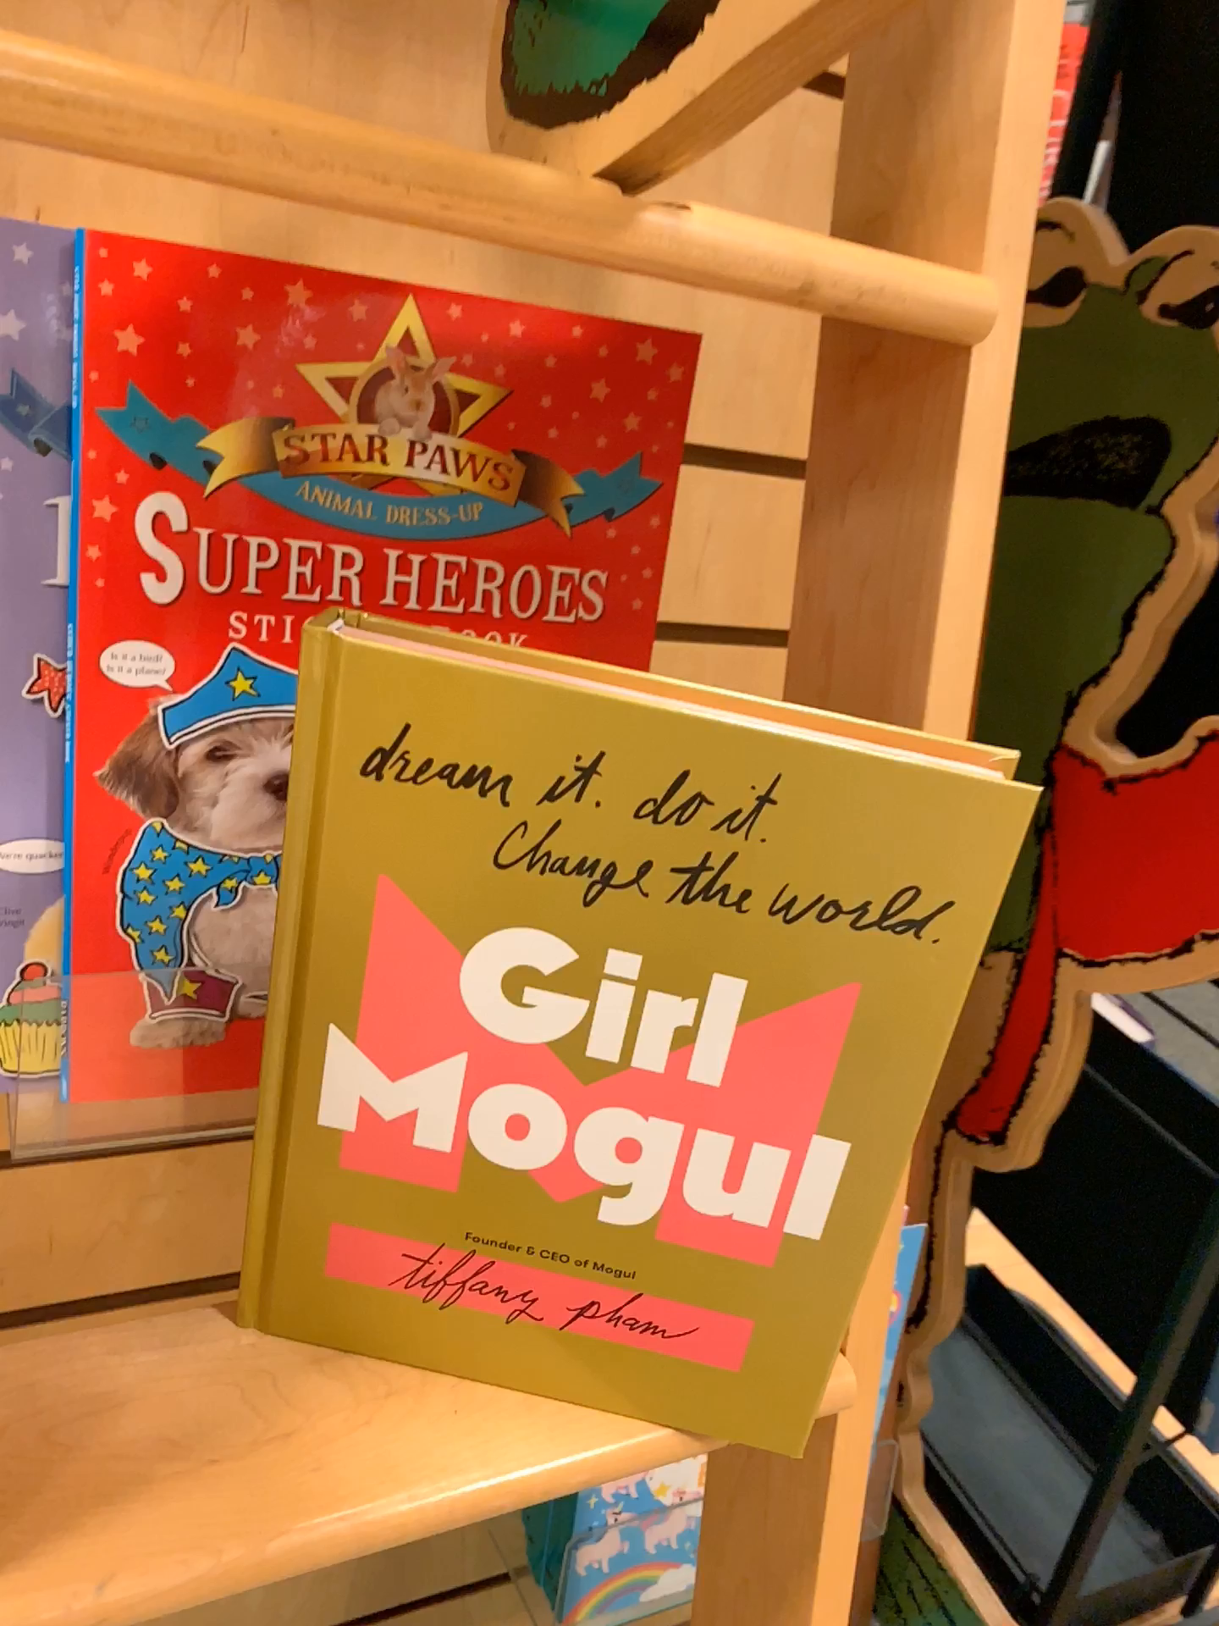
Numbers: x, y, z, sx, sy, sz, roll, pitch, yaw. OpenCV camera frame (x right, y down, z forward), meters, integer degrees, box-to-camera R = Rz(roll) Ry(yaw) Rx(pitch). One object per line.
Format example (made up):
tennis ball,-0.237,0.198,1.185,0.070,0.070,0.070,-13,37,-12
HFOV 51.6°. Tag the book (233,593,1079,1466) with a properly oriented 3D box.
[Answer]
book,-0.001,0.069,0.344,0.180,0.219,0.030,12,23,1
